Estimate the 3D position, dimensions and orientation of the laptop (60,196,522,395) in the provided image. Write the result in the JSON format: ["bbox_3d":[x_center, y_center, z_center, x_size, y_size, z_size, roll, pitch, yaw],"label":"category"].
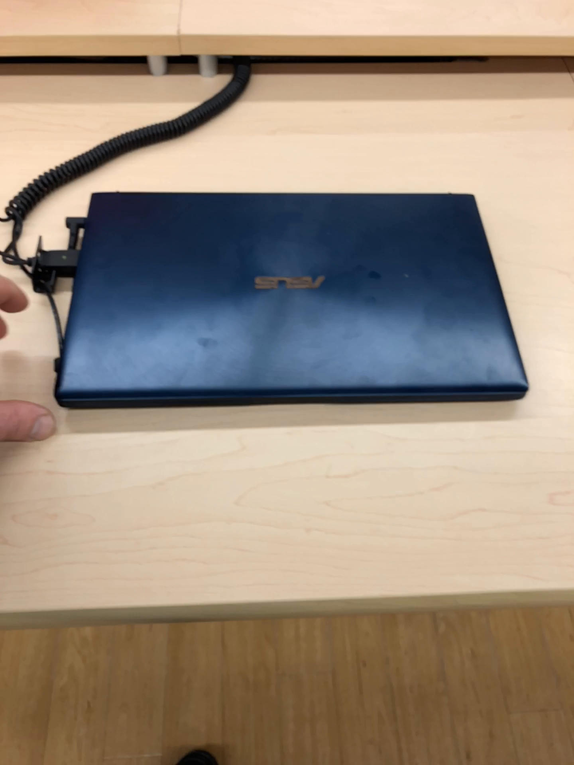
[{"bbox_3d":[0.003,-0.070,0.455,0.295,0.001,0.178,-1,58,-2],"label":"laptop"}]
